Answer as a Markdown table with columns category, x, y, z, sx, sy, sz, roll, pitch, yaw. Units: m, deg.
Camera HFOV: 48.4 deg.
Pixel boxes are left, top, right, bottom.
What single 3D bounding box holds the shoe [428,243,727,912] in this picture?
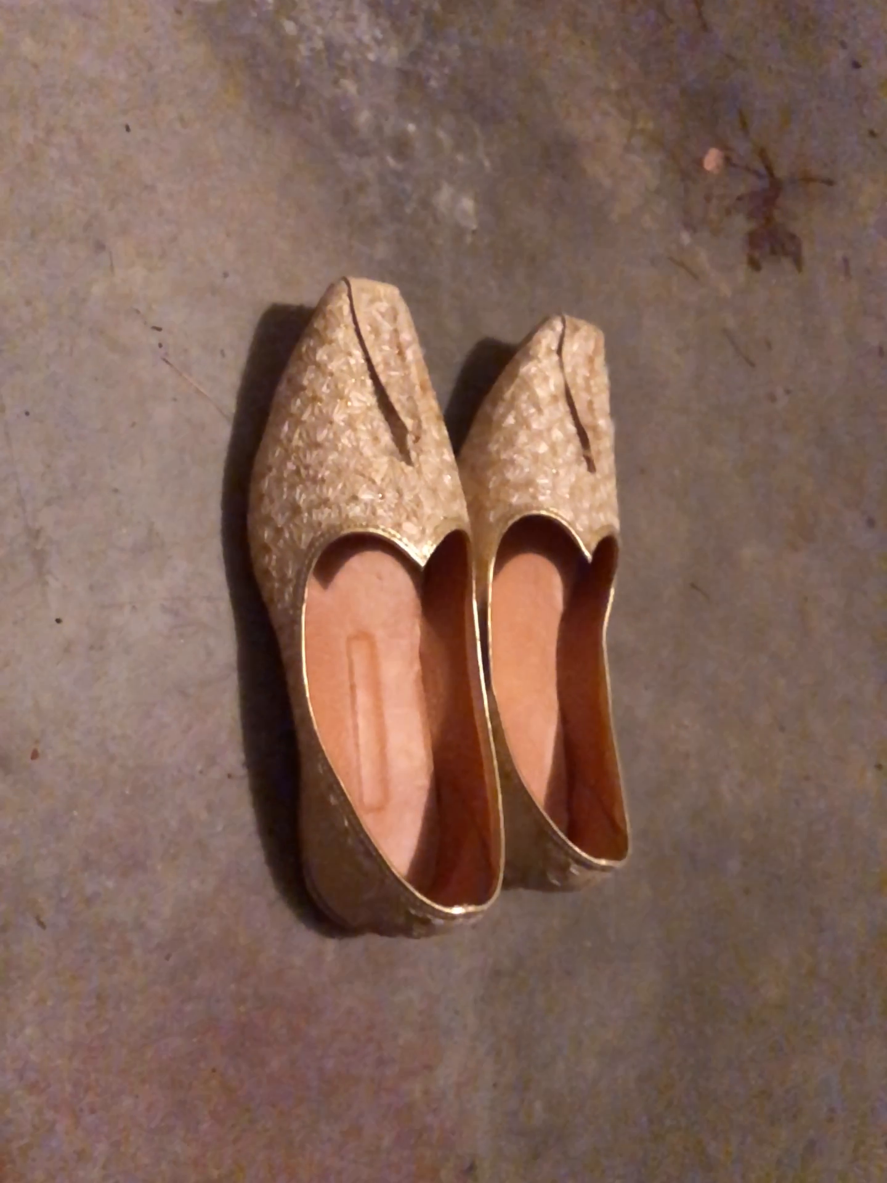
| category | x | y | z | sx | sy | sz | roll | pitch | yaw |
| --- | --- | --- | --- | --- | --- | --- | --- | --- | --- |
| shoe | 0.066 | -0.001 | 0.455 | 0.104 | 0.073 | 0.275 | 12 | 77 | -35 |

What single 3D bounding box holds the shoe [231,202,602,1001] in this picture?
| category | x | y | z | sx | sy | sz | roll | pitch | yaw |
| --- | --- | --- | --- | --- | --- | --- | --- | --- | --- |
| shoe | -0.013 | 0.002 | 0.398 | 0.104 | 0.073 | 0.275 | -2 | 84 | -37 |
